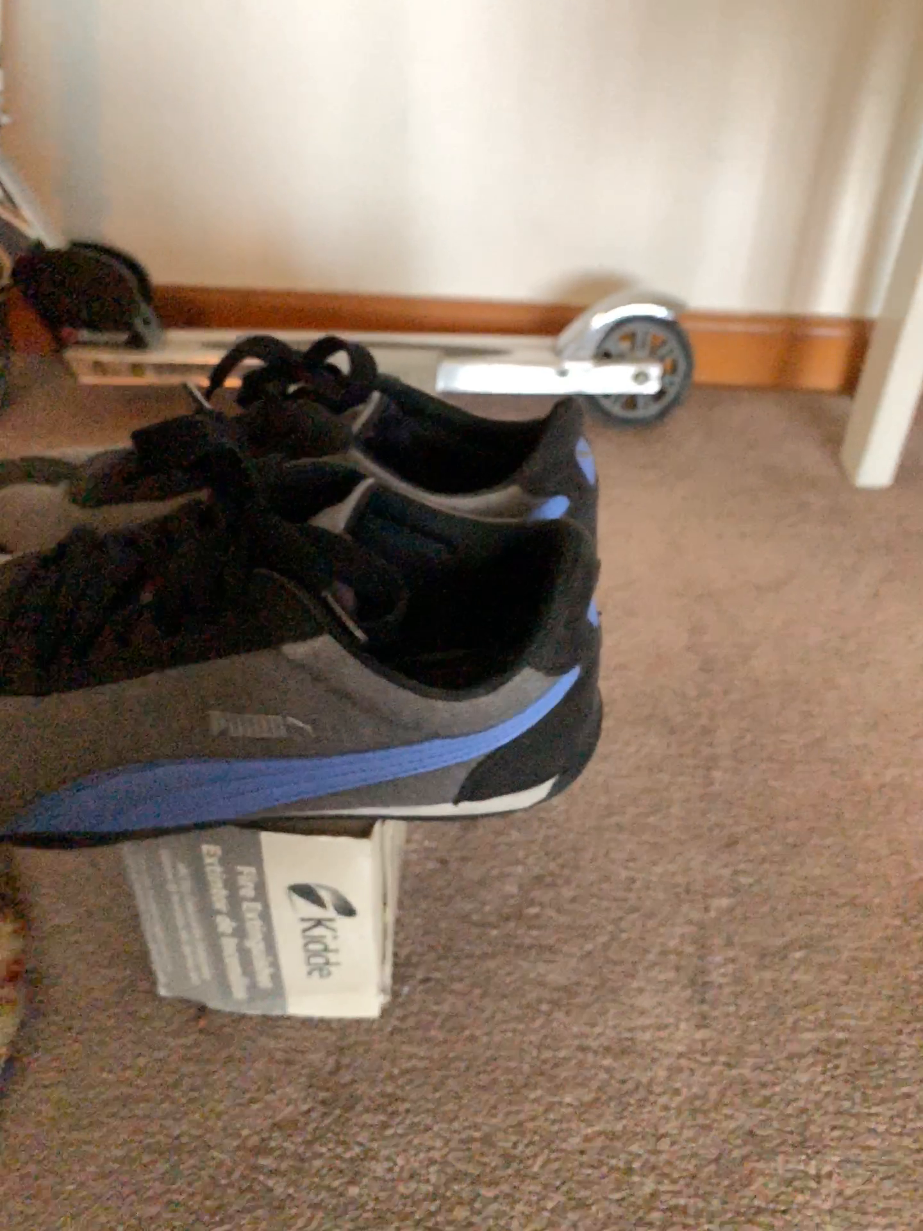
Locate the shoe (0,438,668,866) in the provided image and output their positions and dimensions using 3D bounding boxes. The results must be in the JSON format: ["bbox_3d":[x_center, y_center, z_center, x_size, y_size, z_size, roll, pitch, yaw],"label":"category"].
[{"bbox_3d":[-0.076,0.006,0.289,0.250,0.077,0.101,1,34,2],"label":"shoe"}]

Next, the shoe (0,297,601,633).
[{"bbox_3d":[-0.075,-0.059,0.361,0.240,0.077,0.111,0,39,3],"label":"shoe"}]
